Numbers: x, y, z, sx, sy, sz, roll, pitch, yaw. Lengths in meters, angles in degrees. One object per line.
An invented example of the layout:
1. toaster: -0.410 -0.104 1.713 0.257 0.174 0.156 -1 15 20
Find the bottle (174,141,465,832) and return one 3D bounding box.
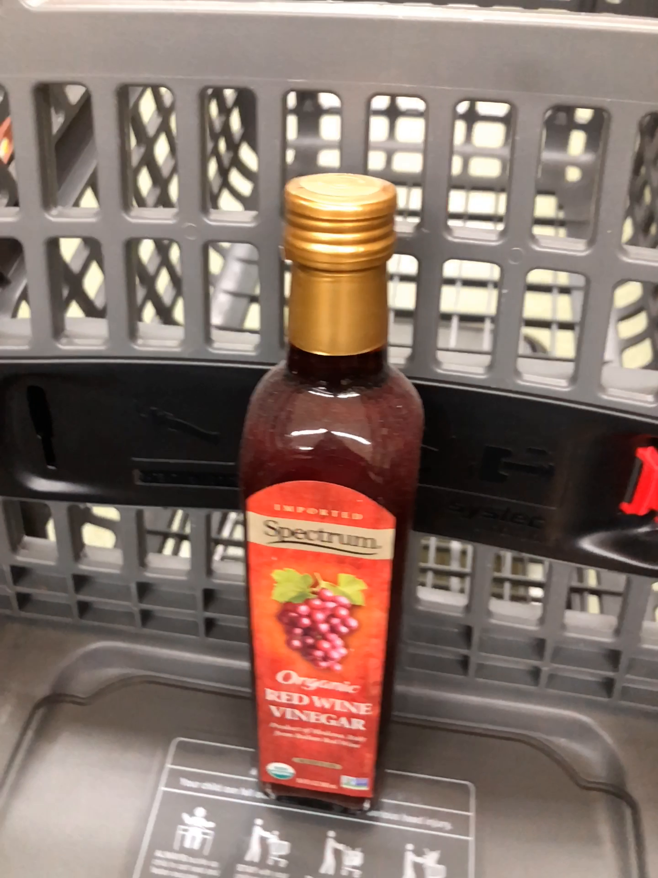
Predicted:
1. bottle: 0.001 0.038 0.281 0.070 0.270 0.070 1 34 0
